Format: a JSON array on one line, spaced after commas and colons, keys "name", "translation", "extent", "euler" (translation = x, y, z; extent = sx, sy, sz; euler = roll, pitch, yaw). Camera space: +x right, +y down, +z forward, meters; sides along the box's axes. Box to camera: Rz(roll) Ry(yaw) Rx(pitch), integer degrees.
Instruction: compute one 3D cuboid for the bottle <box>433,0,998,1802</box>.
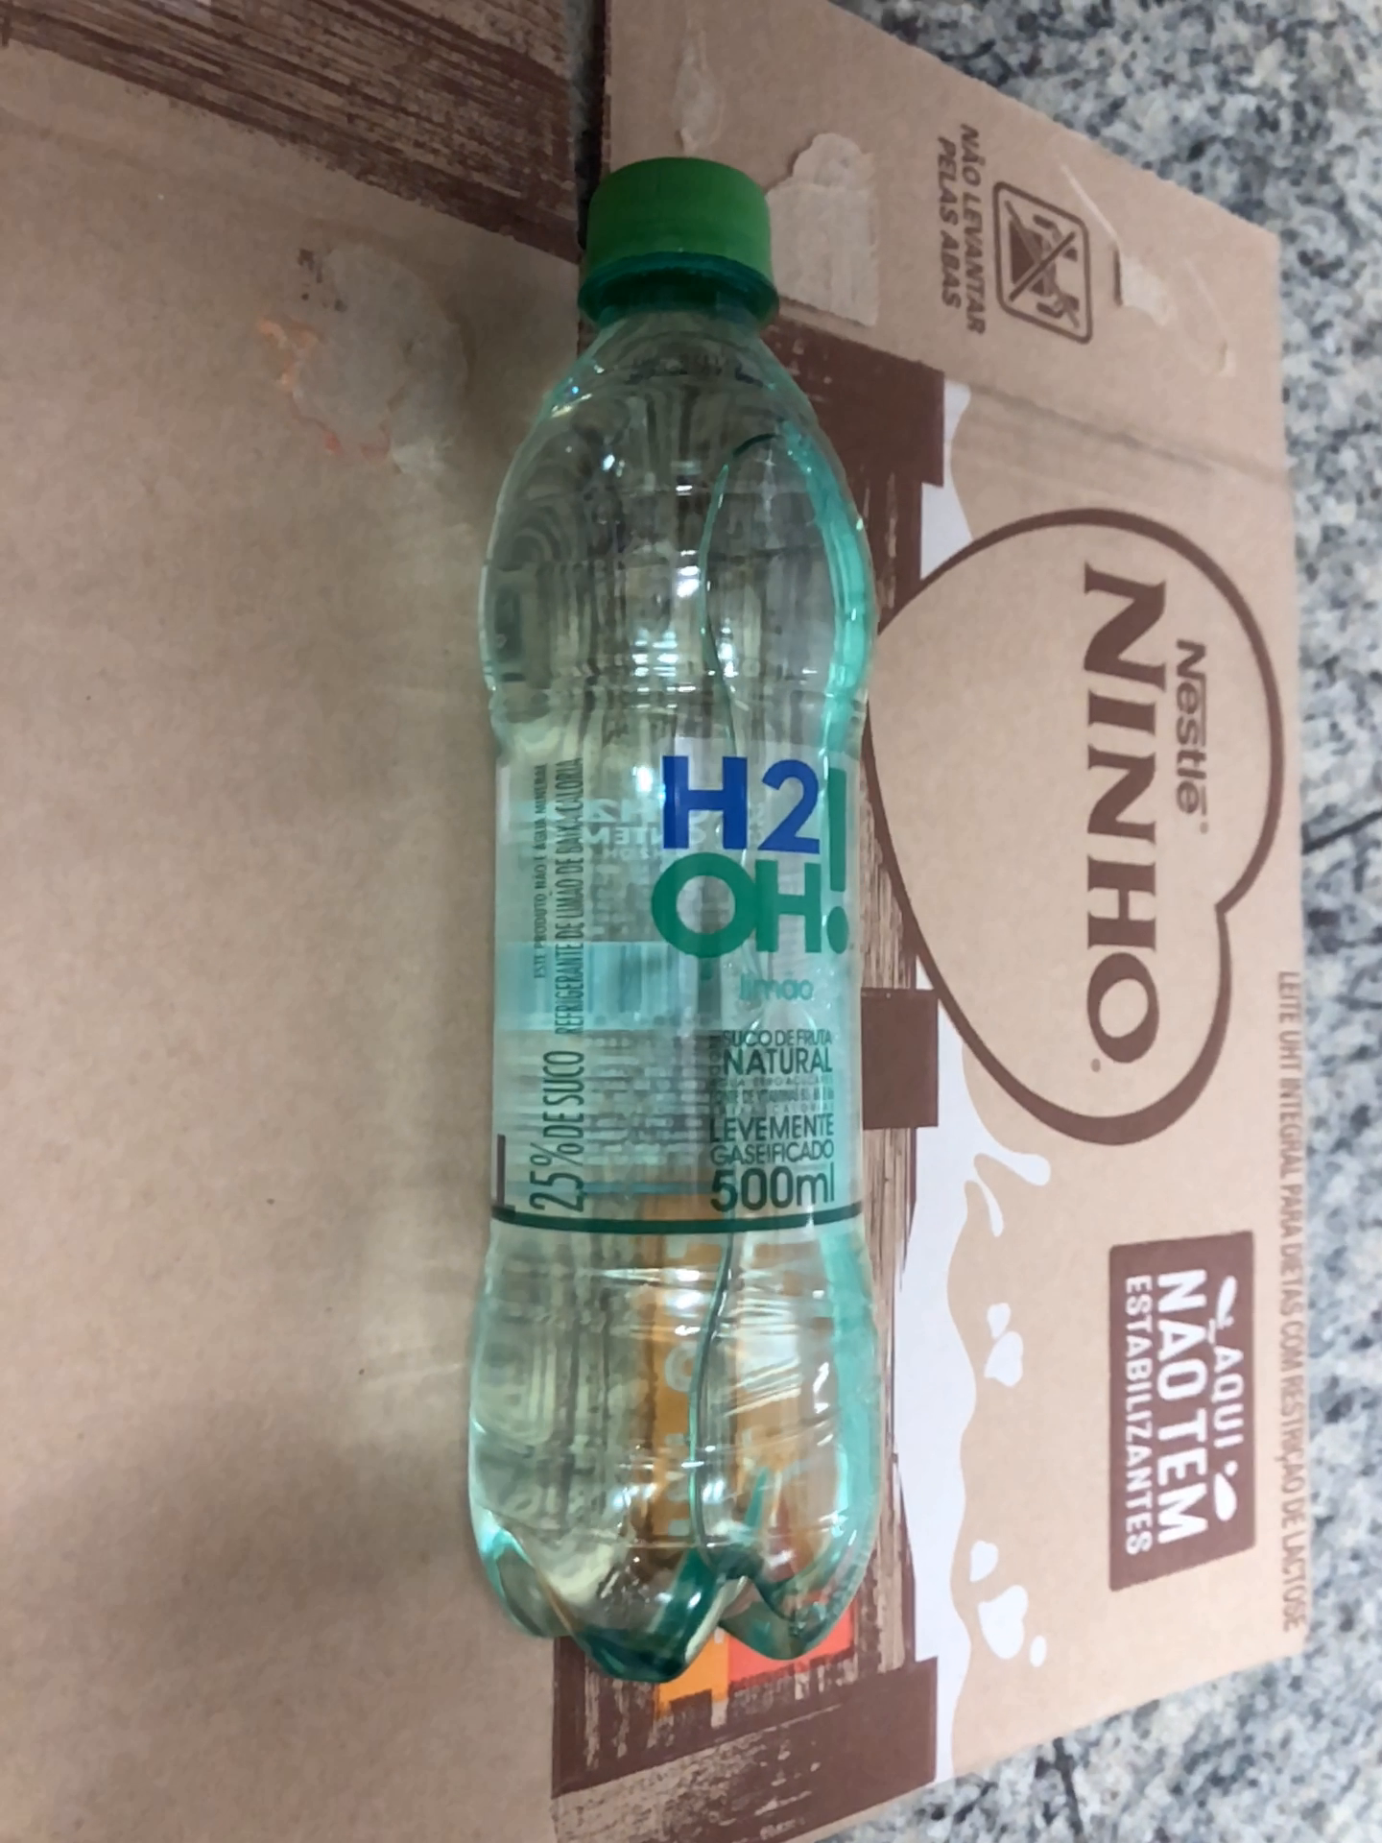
[{"name": "bottle", "translation": [0.004, -0.011, 0.244], "extent": [0.070, 0.050, 0.250], "euler": [4, 84, -39]}]
